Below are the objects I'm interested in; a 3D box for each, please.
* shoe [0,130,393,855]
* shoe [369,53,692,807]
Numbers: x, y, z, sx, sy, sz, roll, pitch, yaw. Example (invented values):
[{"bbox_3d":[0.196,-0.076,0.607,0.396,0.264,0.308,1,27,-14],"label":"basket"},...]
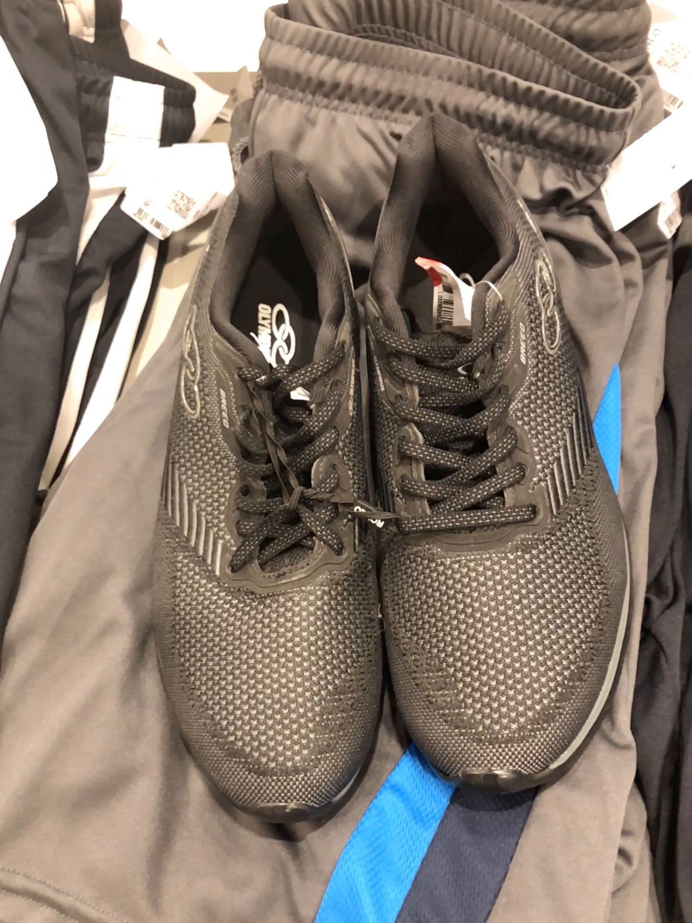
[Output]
[{"bbox_3d":[-0.038,0.006,0.310,0.100,0.100,0.271,-3,62,6],"label":"shoe"},{"bbox_3d":[0.066,-0.020,0.305,0.100,0.100,0.281,-3,62,6],"label":"shoe"}]
